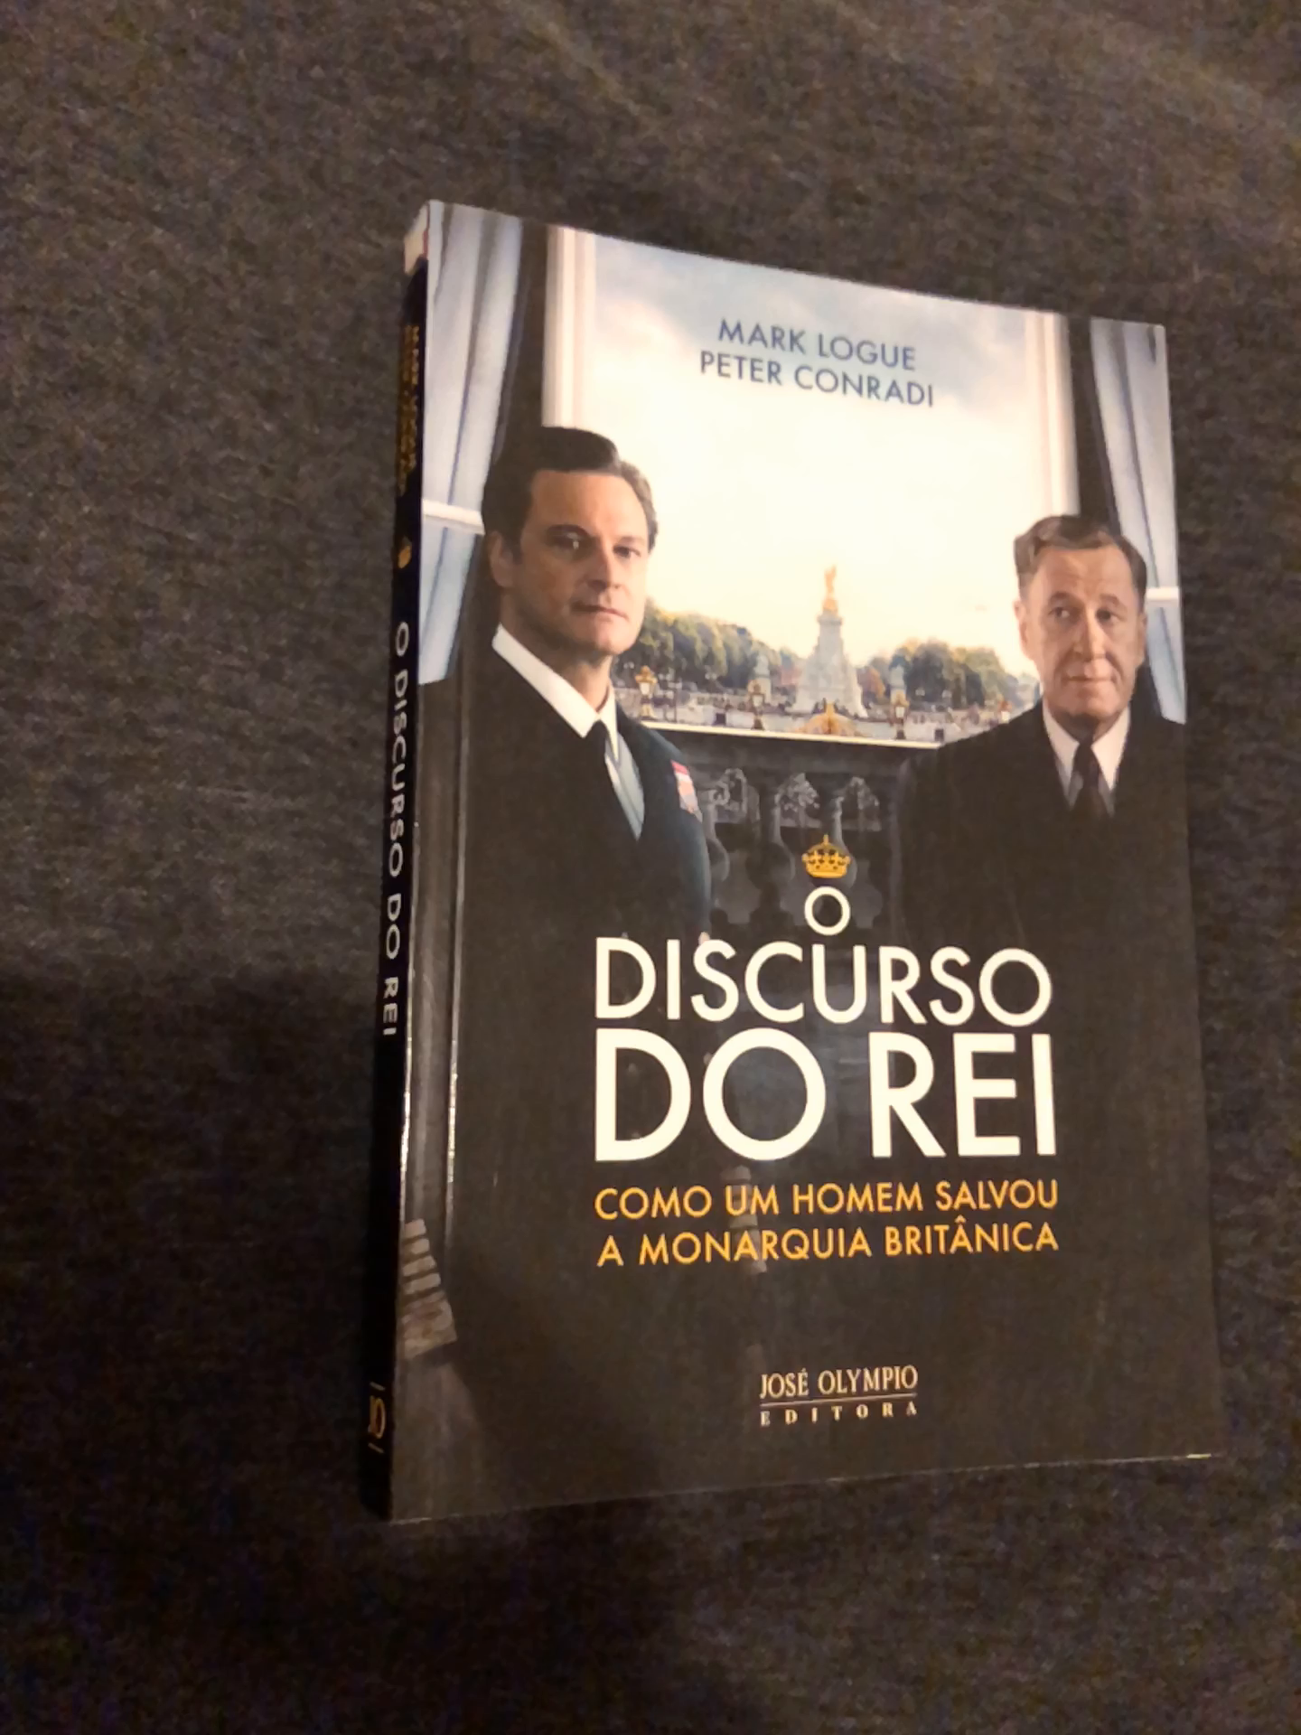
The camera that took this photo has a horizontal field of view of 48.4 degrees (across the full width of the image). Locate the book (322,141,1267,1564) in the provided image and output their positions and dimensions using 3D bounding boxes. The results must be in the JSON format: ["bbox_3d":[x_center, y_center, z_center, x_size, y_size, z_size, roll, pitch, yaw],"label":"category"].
[{"bbox_3d":[0.027,-0.006,0.266,0.160,0.030,0.230,3,79,-16],"label":"book"}]
